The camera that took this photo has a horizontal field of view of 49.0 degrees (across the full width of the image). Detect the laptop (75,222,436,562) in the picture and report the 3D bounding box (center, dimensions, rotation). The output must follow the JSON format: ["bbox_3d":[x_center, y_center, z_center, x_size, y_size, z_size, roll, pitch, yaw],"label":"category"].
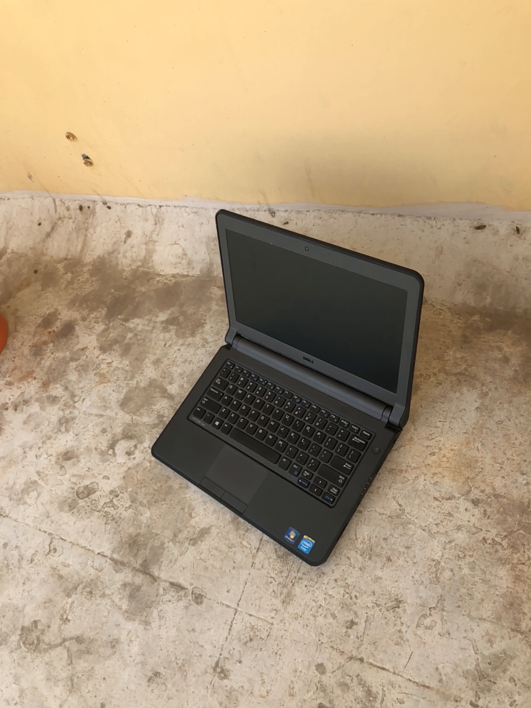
[{"bbox_3d":[-0.001,0.037,0.766,0.309,0.208,0.299,25,70,33],"label":"laptop"}]
